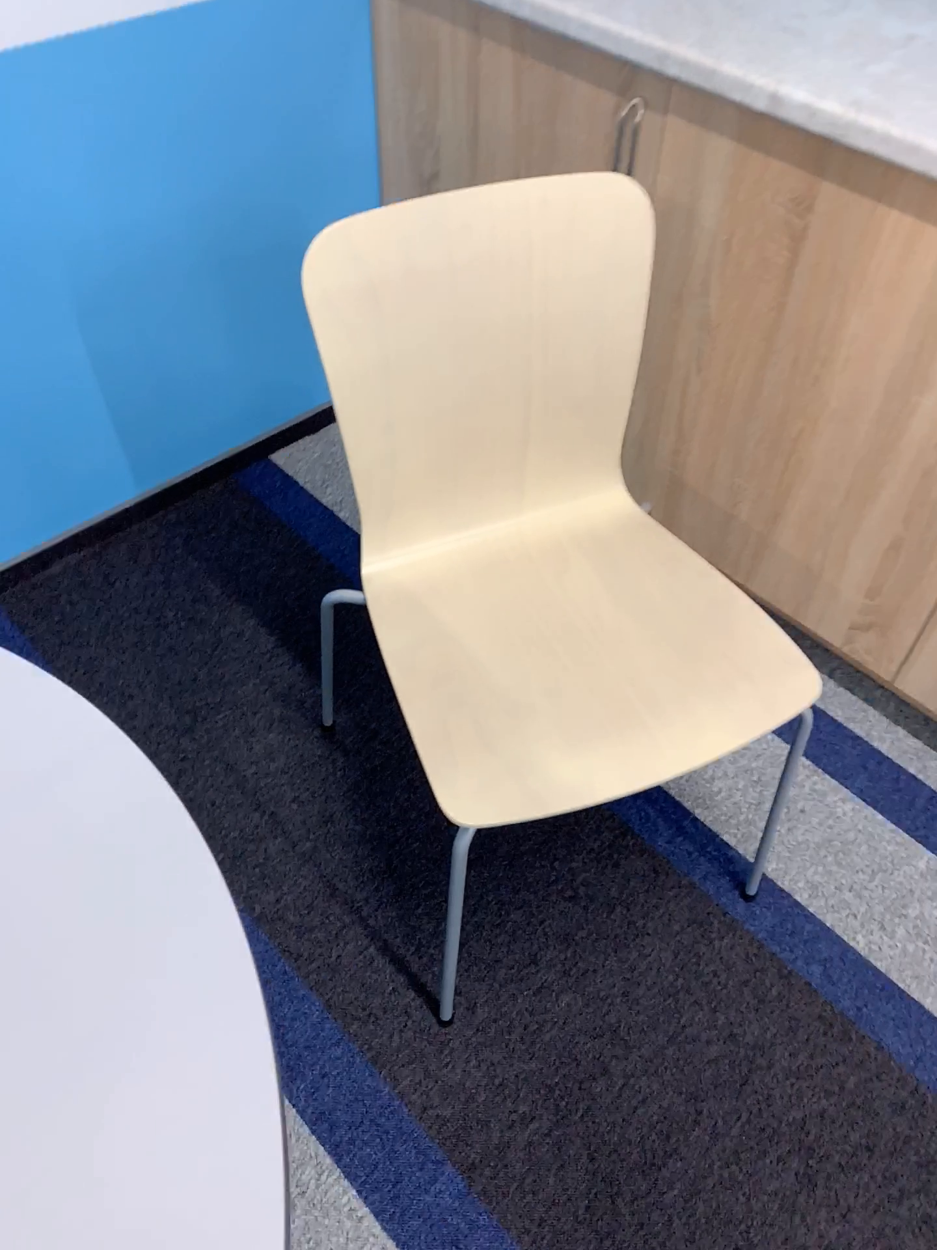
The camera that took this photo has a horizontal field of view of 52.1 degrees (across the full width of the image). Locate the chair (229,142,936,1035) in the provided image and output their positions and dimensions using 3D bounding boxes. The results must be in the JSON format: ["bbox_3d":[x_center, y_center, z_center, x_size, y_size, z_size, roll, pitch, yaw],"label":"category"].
[{"bbox_3d":[0.079,-0.011,1.170,0.476,0.836,0.572,-16,50,-15],"label":"chair"}]
